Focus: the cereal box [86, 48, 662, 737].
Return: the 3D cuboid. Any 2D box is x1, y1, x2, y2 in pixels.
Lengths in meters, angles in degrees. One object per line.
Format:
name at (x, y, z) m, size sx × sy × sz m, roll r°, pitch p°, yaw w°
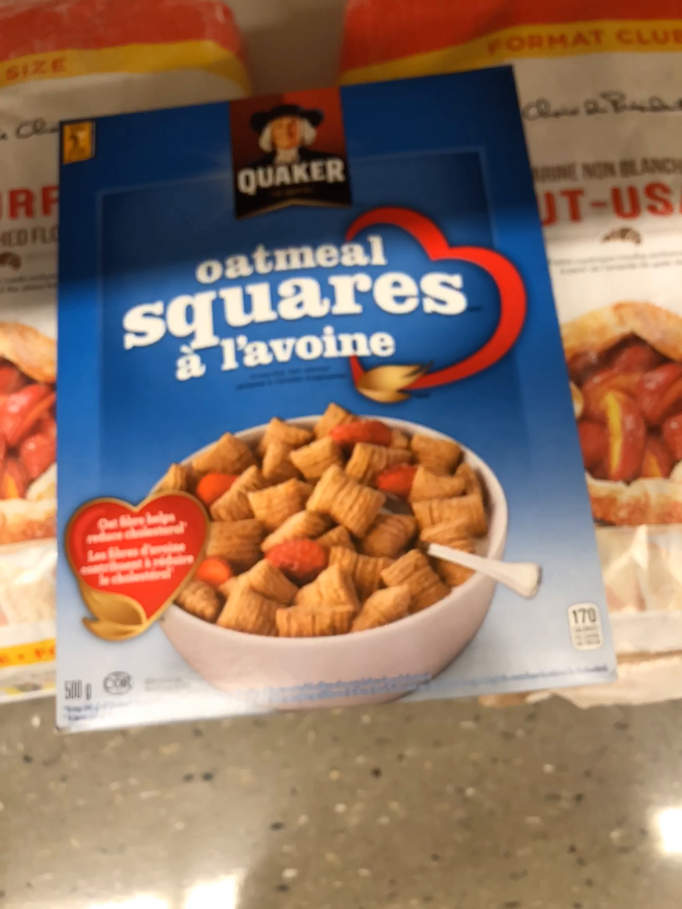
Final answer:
cereal box at (0.000, -0.033, 0.347) m, size 0.210 × 0.060 × 0.280 m, roll -6°, pitch 74°, yaw 2°
